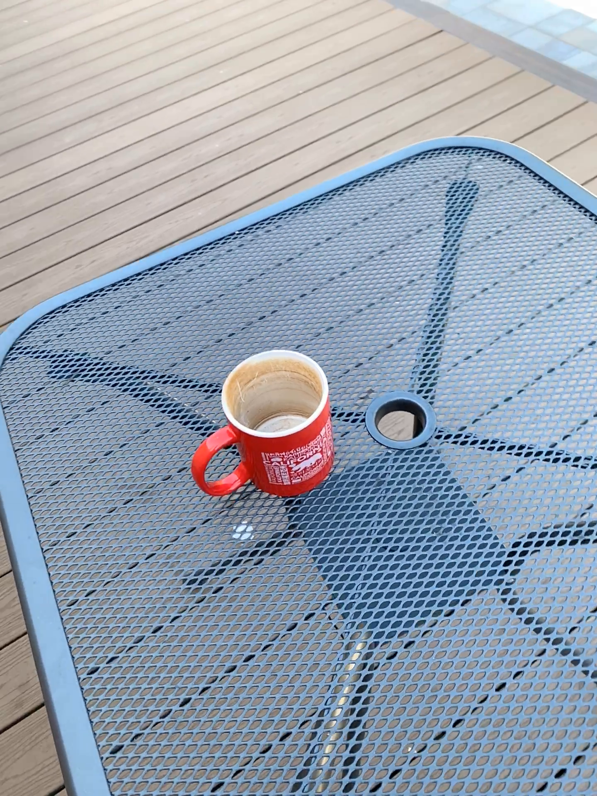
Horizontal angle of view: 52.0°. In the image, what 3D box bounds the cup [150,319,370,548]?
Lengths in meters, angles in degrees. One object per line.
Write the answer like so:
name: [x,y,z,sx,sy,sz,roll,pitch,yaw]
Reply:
cup: [-0.027,0.029,0.517,0.140,0.100,0.100,-32,56,-15]
